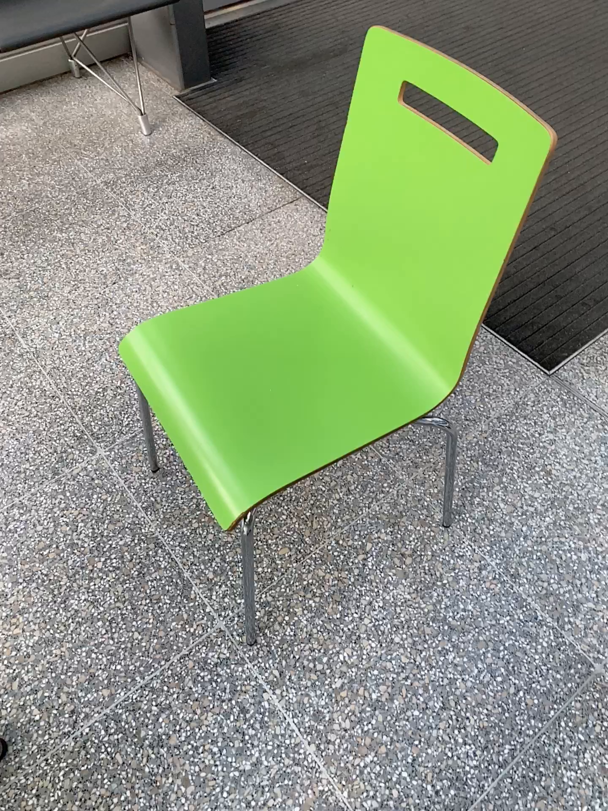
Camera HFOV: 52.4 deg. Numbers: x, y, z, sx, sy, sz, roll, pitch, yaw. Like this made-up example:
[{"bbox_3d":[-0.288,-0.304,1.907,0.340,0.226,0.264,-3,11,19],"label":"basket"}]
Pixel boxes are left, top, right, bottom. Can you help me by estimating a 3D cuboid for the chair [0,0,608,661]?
[{"bbox_3d":[-0.026,-0.081,1.036,0.531,0.833,0.543,-27,57,-19],"label":"chair"}]
